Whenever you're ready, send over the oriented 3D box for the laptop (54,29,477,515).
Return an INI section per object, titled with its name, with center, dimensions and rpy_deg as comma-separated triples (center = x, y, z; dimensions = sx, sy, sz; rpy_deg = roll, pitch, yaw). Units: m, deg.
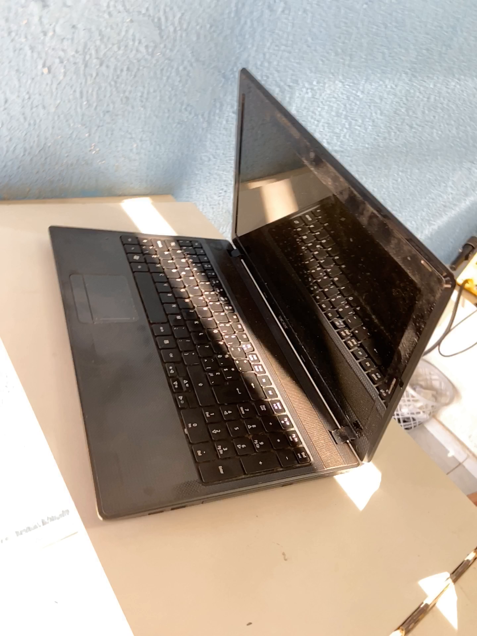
[laptop]
center = -0.017, -0.067, 0.485
dimensions = 0.254, 0.234, 0.376
rpy_deg = 0, 42, -29
